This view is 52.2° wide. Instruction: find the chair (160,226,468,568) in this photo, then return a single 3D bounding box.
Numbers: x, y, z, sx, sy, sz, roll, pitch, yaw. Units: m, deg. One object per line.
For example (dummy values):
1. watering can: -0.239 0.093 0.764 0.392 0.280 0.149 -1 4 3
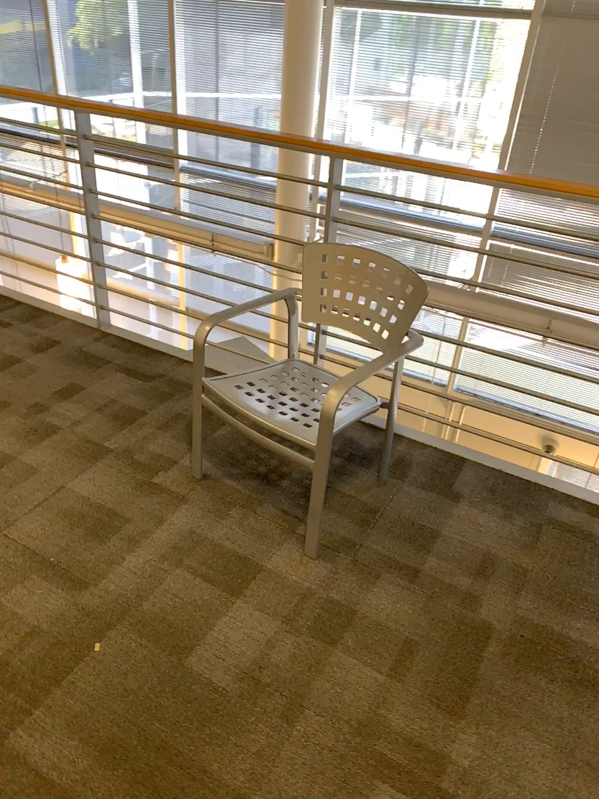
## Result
1. chair: 0.033 -0.063 2.083 0.682 0.755 0.682 26 38 29
